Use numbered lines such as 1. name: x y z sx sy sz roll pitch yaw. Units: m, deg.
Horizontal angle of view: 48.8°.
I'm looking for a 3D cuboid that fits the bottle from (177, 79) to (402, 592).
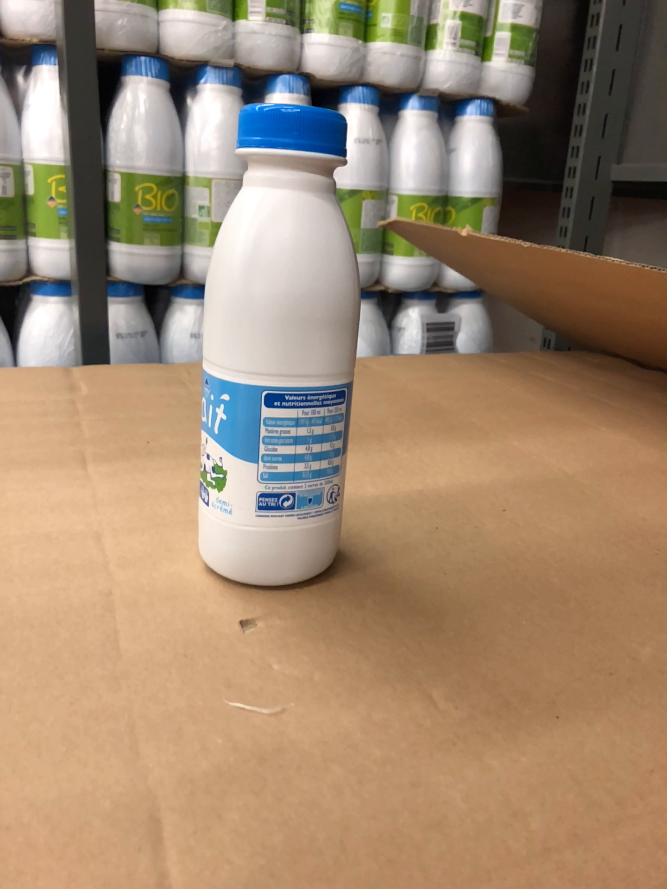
1. bottle: -0.025 -0.043 0.313 0.070 0.189 0.070 3 18 -1
